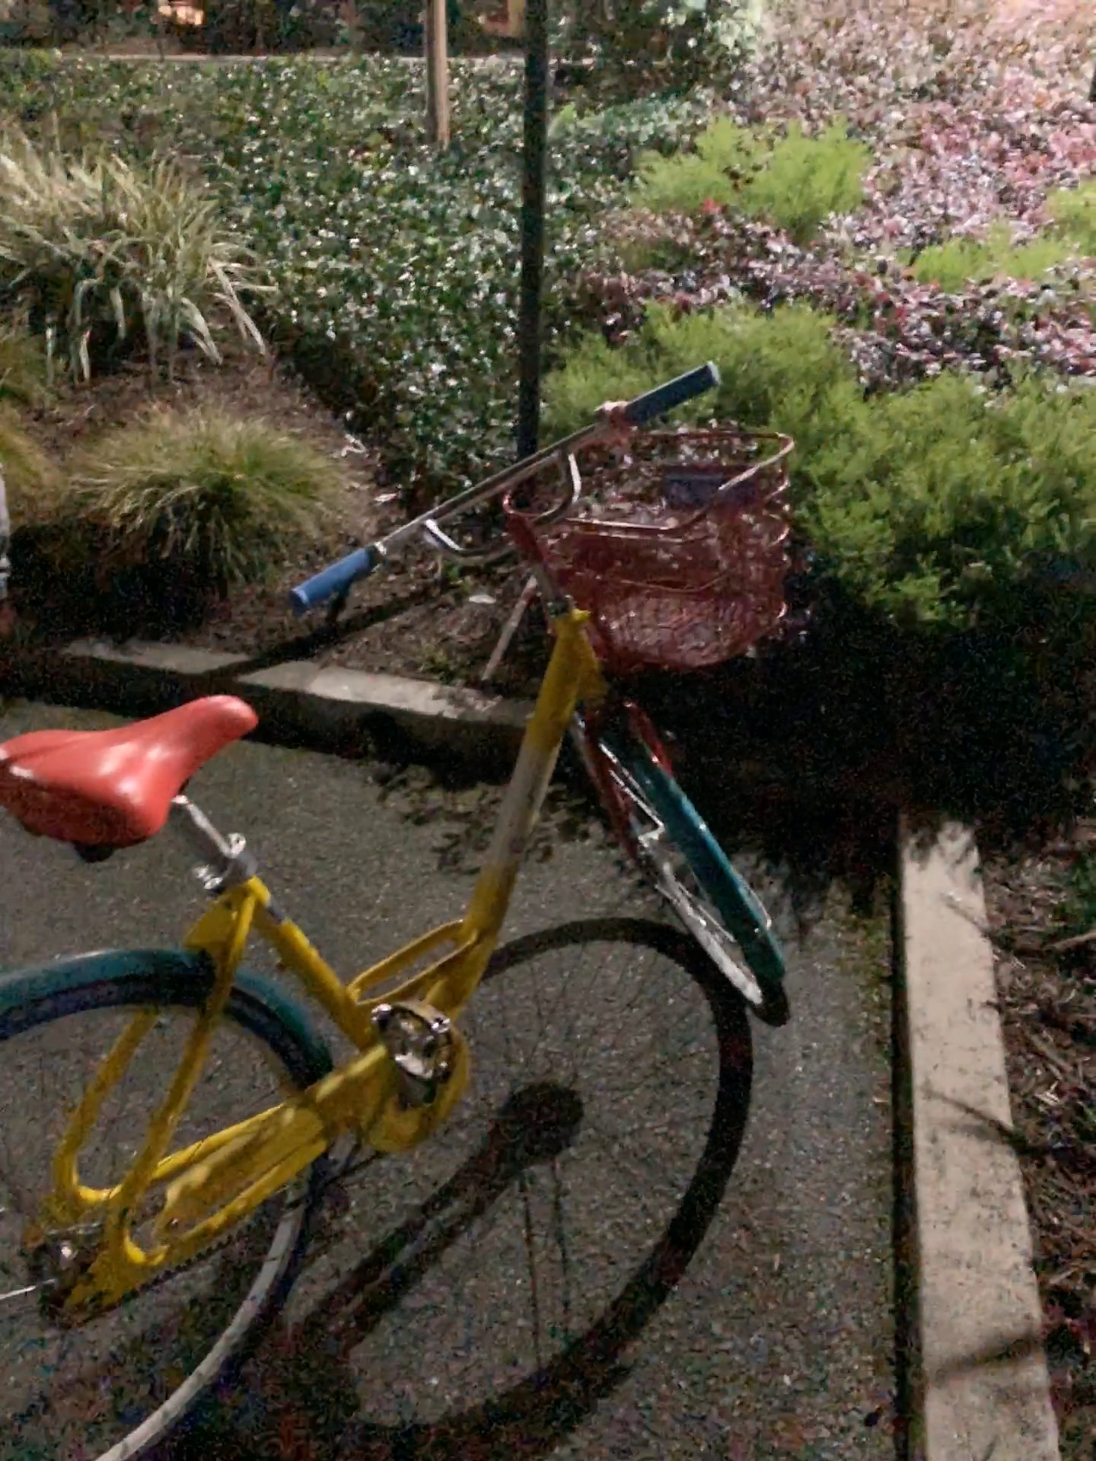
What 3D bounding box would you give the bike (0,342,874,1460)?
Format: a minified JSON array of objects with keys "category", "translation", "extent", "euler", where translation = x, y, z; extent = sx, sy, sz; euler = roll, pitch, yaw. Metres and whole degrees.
[{"category":"bike","translation":[-0.251,0.180,1.438],"extent":[0.601,1.086,1.586],"euler":[21,33,28]}]
